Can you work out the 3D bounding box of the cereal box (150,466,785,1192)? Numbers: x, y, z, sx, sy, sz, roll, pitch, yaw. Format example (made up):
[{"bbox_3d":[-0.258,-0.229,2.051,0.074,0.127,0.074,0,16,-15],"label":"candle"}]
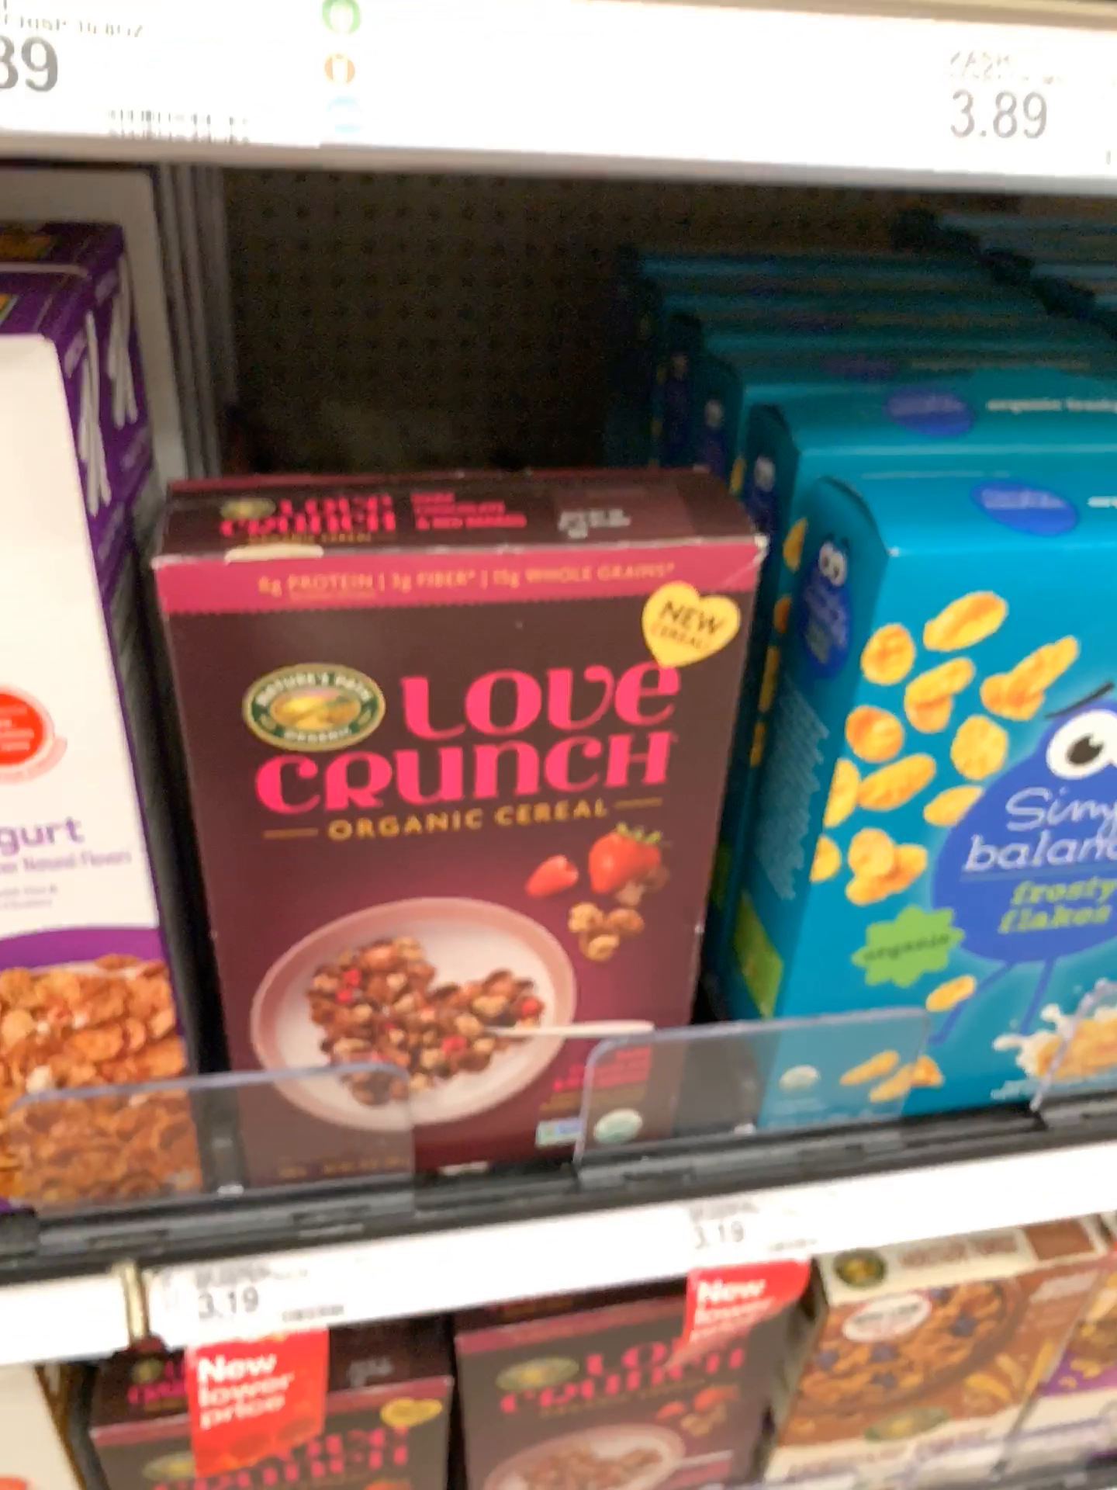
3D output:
[{"bbox_3d":[-0.030,0.039,0.387,0.160,0.249,0.050,-4,36,-11],"label":"cereal box"}]
